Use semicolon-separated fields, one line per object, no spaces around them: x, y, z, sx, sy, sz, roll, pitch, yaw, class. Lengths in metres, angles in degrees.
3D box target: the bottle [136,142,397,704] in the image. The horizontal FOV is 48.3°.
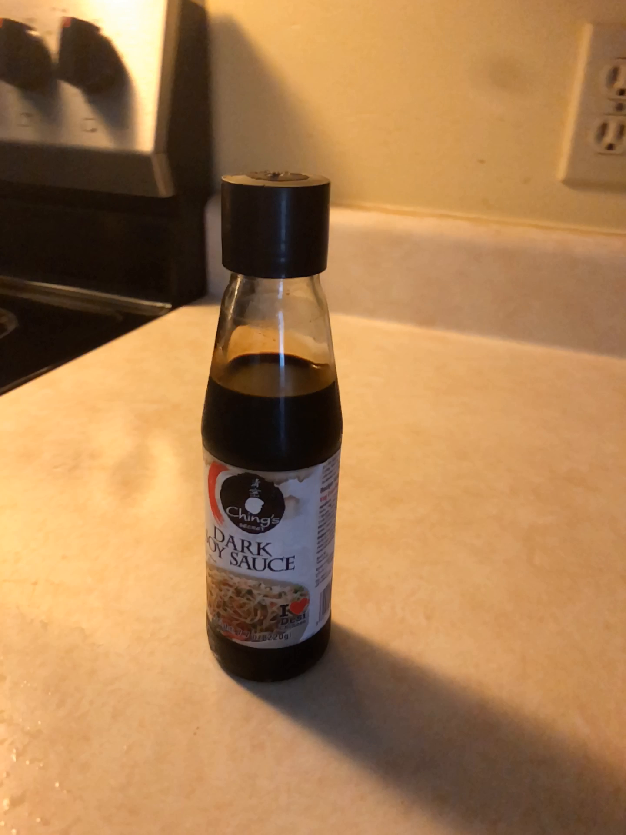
-0.013;0.004;0.243;0.060;0.180;0.060;2;25;-1;bottle
